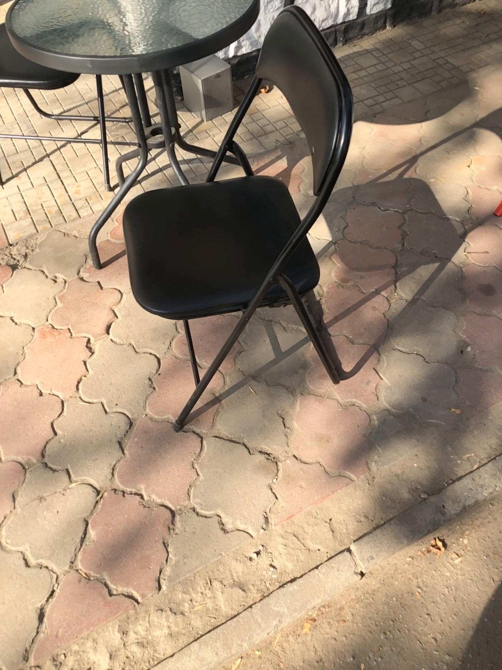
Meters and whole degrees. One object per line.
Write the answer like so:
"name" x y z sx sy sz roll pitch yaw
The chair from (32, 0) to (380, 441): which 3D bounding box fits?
"chair" -0.099 -0.267 1.384 0.570 0.837 0.582 -12 47 -6
